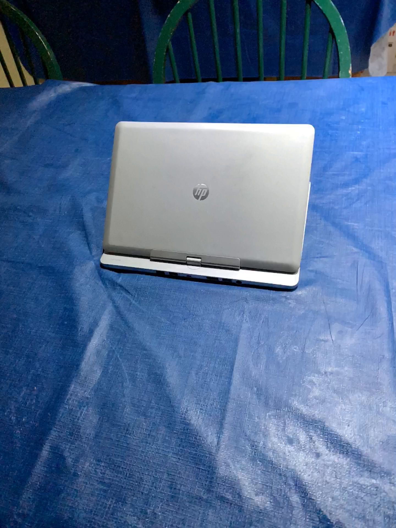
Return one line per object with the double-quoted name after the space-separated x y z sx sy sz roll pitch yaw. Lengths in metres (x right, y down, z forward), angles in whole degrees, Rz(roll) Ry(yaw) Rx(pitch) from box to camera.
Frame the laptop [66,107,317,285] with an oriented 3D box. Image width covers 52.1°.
0.009 -0.106 0.568 0.279 0.122 0.209 6 52 15 "laptop"
